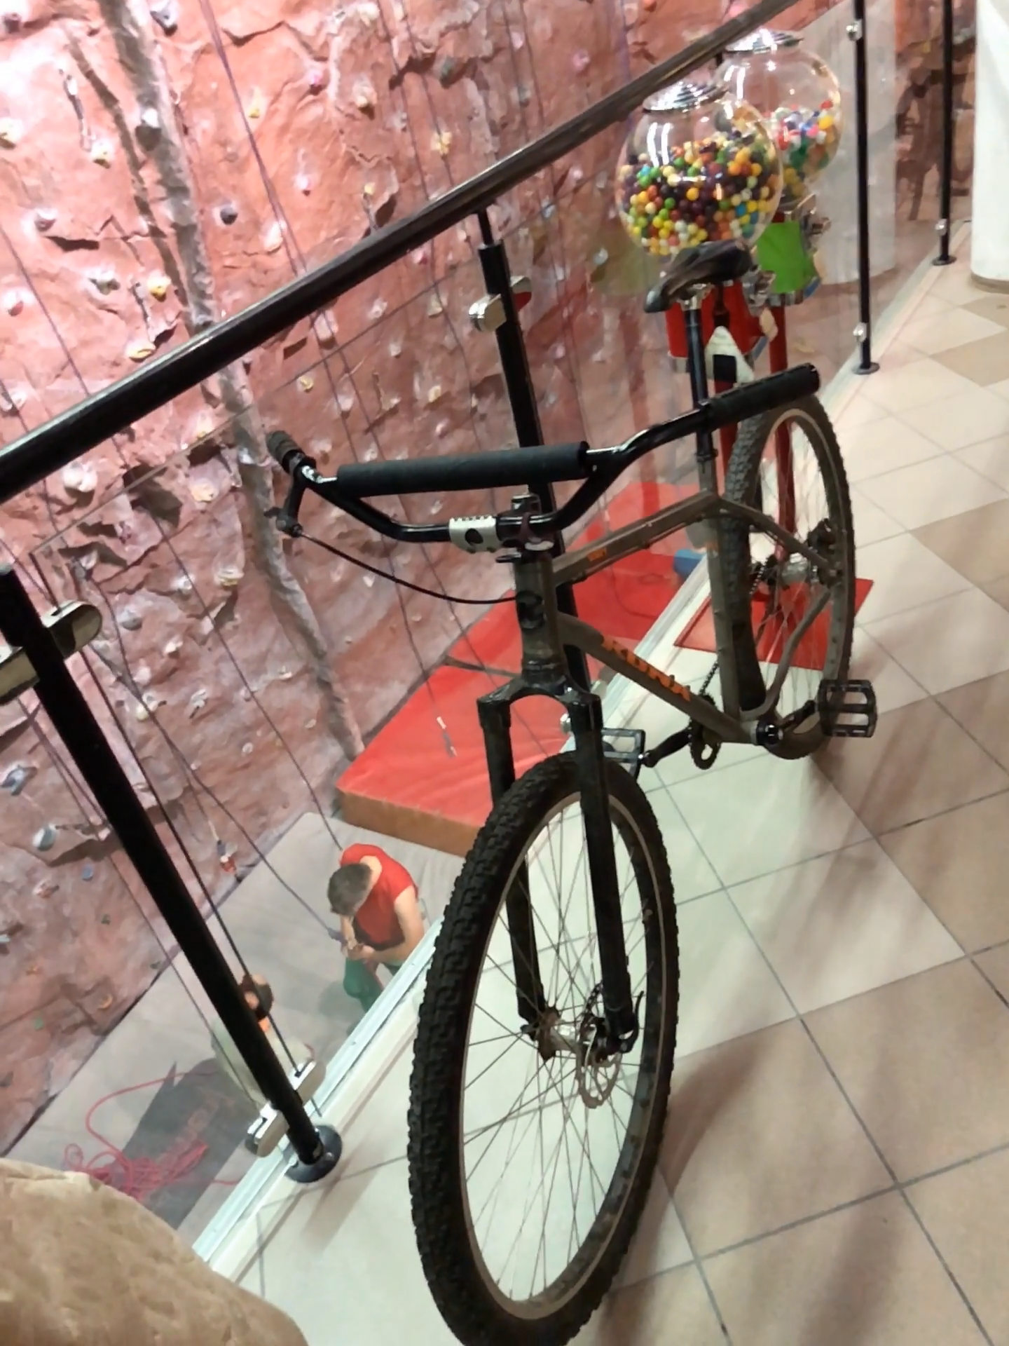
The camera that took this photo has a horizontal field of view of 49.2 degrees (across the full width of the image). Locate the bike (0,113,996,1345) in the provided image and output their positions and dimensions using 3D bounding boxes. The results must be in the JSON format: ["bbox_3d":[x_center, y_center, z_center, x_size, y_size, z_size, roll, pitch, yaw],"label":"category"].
[{"bbox_3d":[0.228,-0.061,1.730,0.750,1.099,1.827,6,37,28],"label":"bike"}]
